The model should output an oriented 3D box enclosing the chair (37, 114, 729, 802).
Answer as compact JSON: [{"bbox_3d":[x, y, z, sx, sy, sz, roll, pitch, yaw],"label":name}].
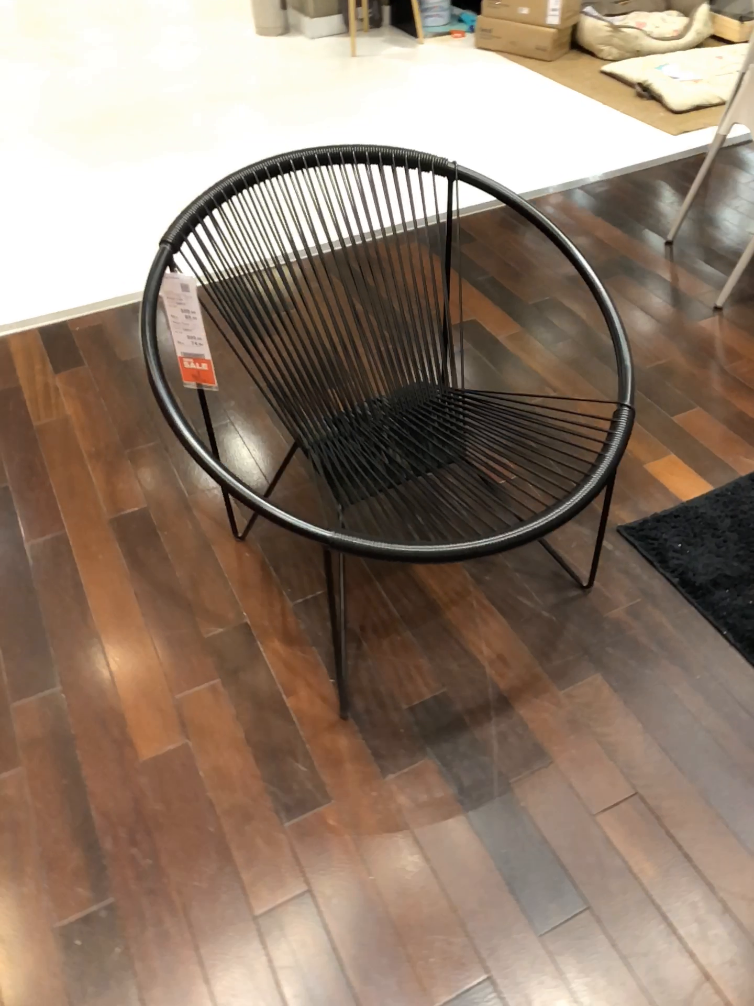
[{"bbox_3d":[-0.027,-0.137,1.387,0.701,0.675,0.734,-23,45,-21],"label":"chair"}]
